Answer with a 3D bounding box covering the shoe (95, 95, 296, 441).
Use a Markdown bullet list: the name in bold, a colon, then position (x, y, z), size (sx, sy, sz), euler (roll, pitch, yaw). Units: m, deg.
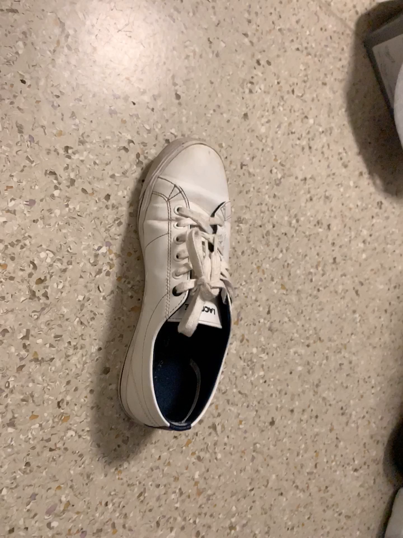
- **shoe**: position (-0.004, 0.004, 0.359), size (0.100, 0.090, 0.250), euler (14, 82, -33)
